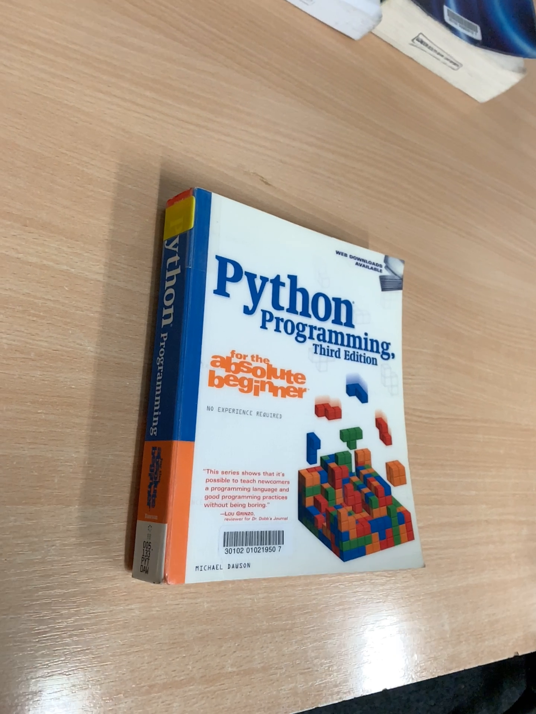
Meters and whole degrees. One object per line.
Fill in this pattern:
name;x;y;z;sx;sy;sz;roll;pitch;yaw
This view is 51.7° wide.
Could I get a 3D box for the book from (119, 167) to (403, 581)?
book;0.009;0.016;0.350;0.175;0.039;0.219;11;75;-33
